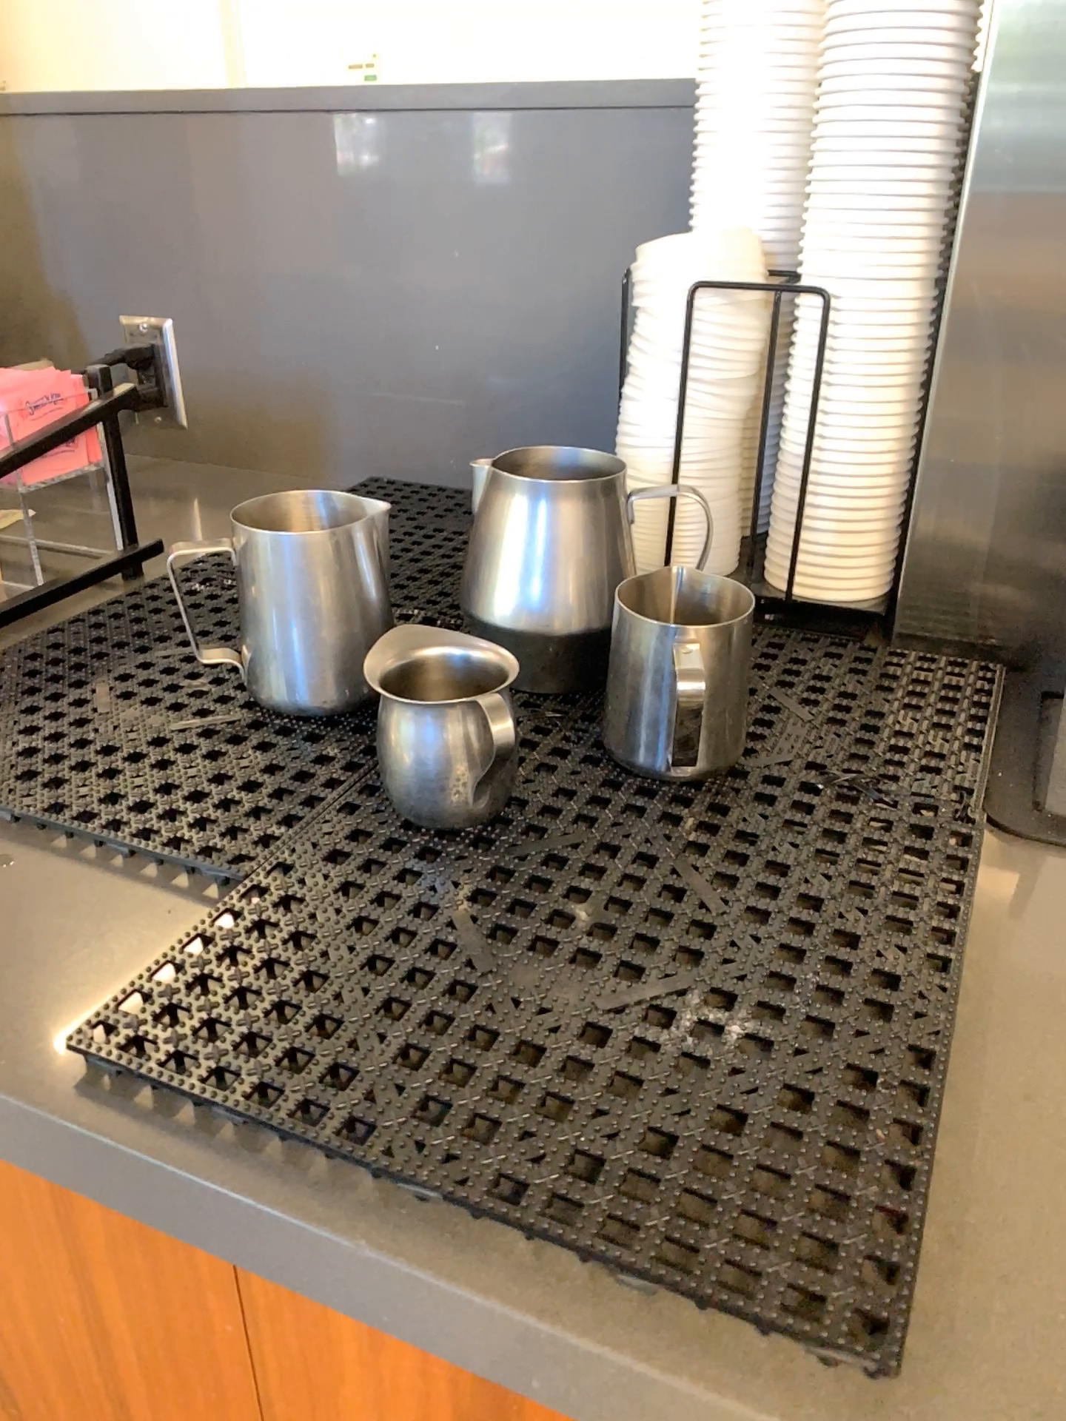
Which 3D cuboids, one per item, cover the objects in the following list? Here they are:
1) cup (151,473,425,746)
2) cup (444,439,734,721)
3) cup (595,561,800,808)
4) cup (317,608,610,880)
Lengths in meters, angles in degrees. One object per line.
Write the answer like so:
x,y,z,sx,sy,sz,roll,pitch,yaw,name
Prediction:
-0.132,-0.059,0.595,0.120,0.109,0.080,-12,29,-22,cup
0.034,-0.080,0.639,0.150,0.129,0.101,4,27,7,cup
0.074,-0.016,0.533,0.080,0.080,0.111,0,27,0,cup
-0.034,0.009,0.492,0.080,0.060,0.121,-16,31,-28,cup
